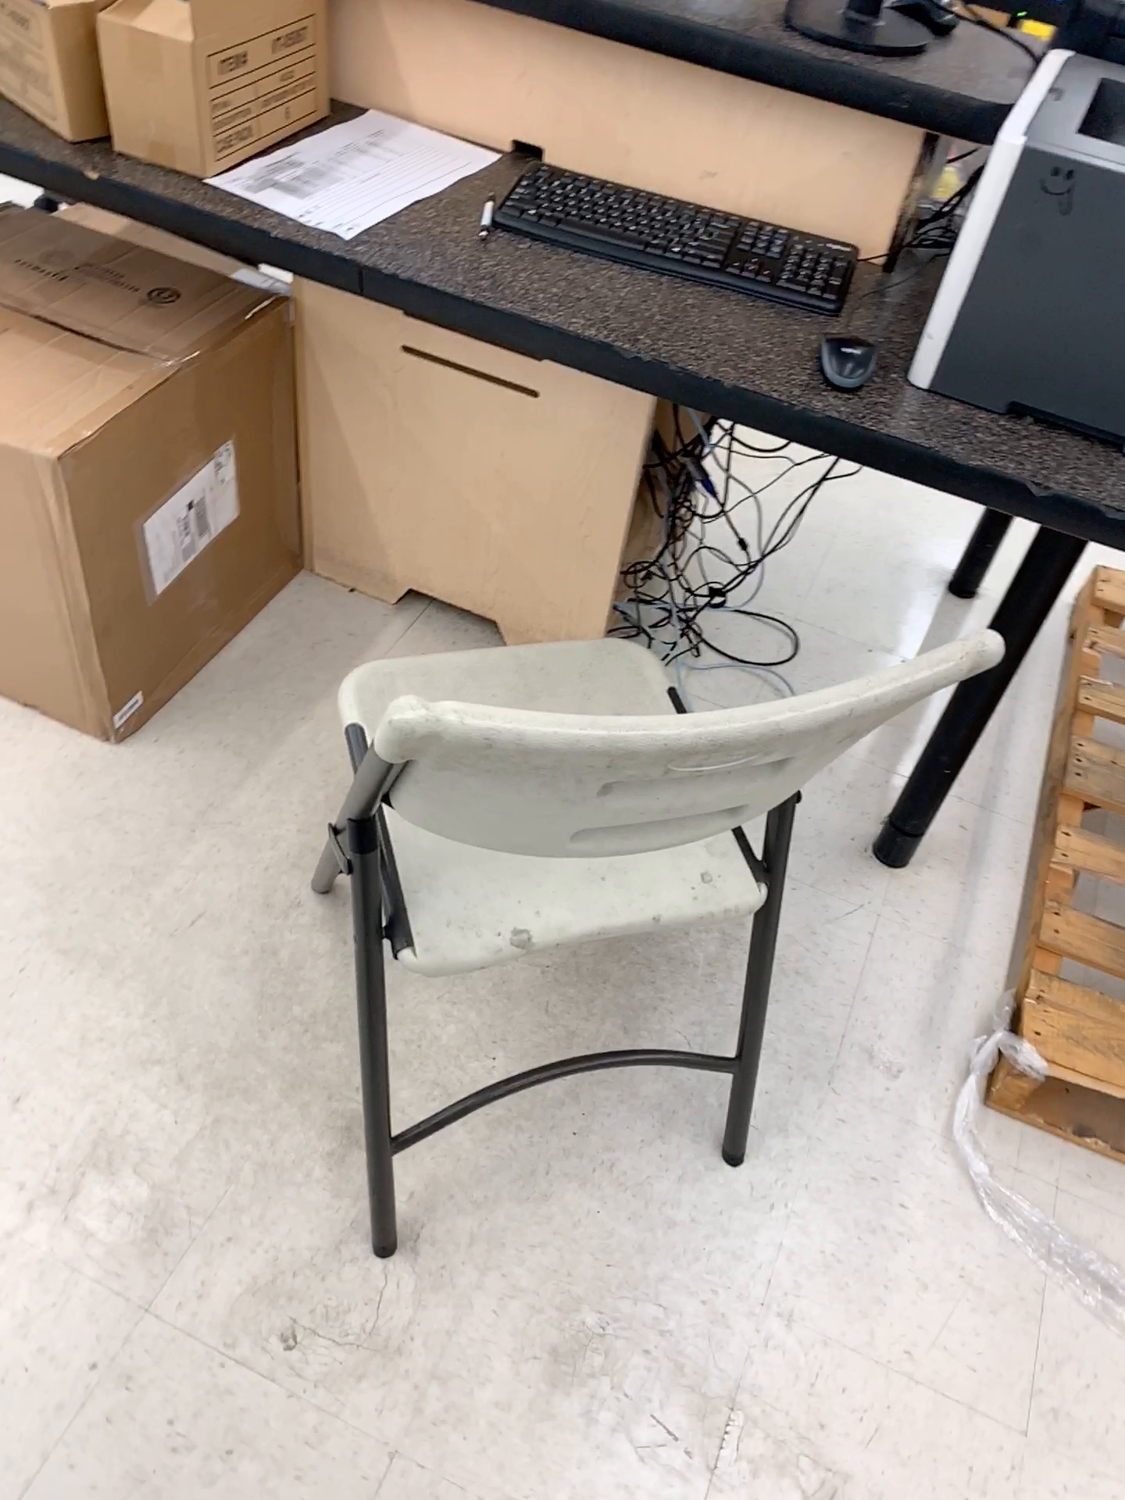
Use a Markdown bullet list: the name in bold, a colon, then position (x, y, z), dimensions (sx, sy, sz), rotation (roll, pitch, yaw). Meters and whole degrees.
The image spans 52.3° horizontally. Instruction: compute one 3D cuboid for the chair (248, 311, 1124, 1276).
- **chair**: position (0.012, 0.051, 1.165), dimensions (0.530, 0.746, 0.562), rotation (-8, 49, -17)
